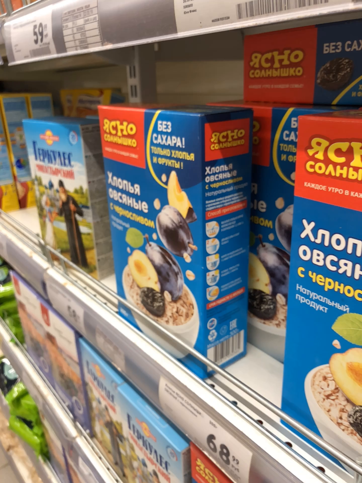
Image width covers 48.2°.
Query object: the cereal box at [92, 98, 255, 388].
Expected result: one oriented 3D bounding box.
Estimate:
[{"bbox_3d":[-0.010,-0.009,0.344,0.050,0.209,0.140,-17,26,-34],"label":"cereal box"}]
